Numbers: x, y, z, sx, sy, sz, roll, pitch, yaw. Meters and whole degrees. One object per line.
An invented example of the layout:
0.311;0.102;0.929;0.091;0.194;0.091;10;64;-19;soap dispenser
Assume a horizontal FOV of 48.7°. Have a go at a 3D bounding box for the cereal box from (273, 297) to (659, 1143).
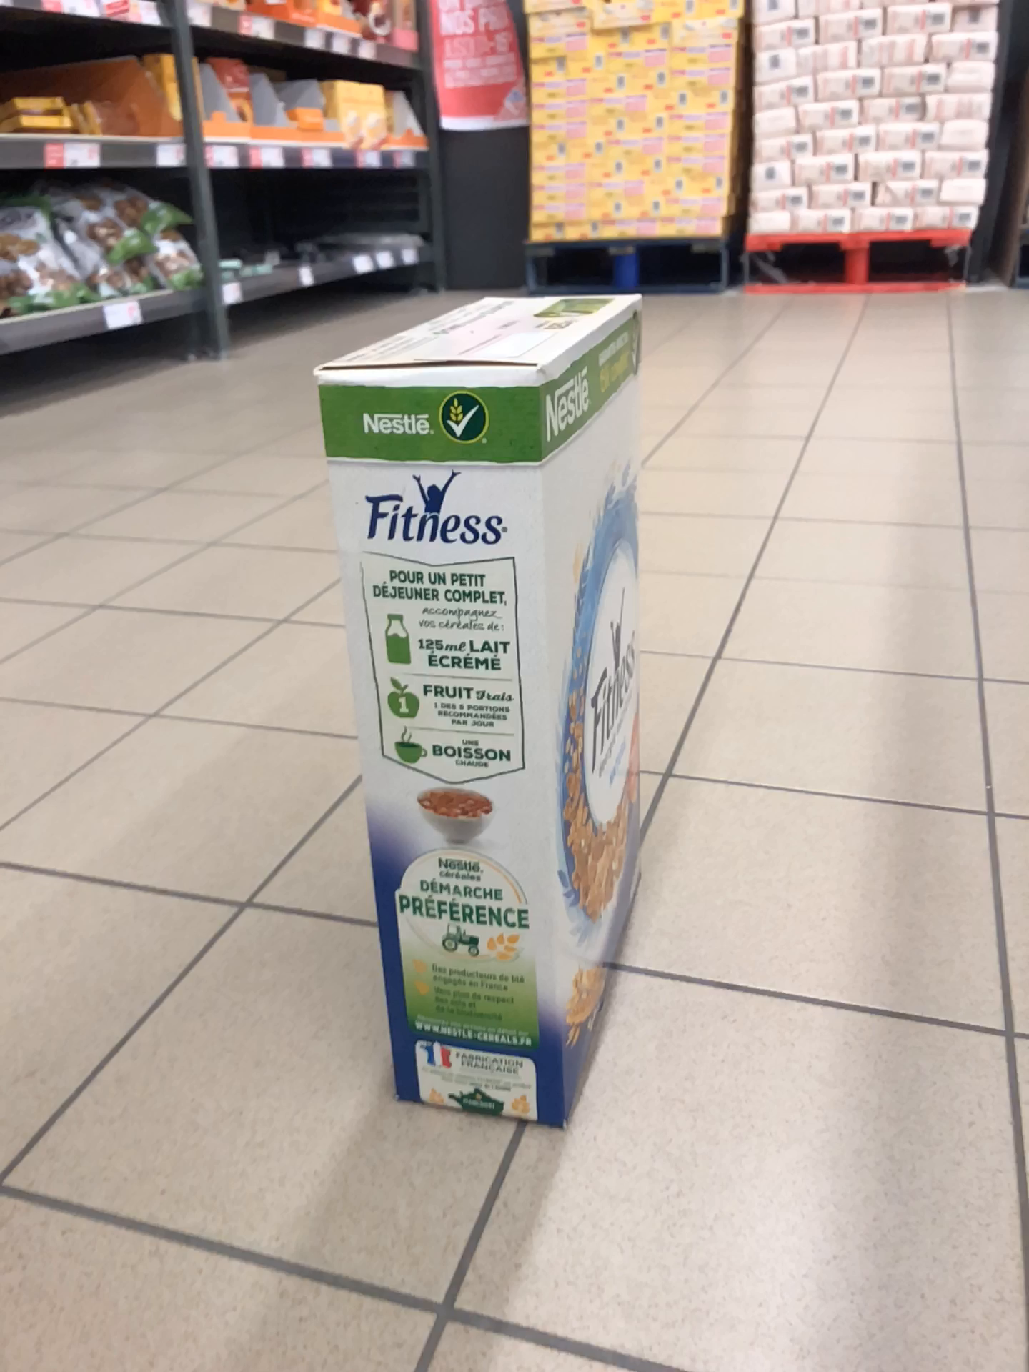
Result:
0.001;-0.002;0.494;0.090;0.298;0.211;4;24;14;cereal box
